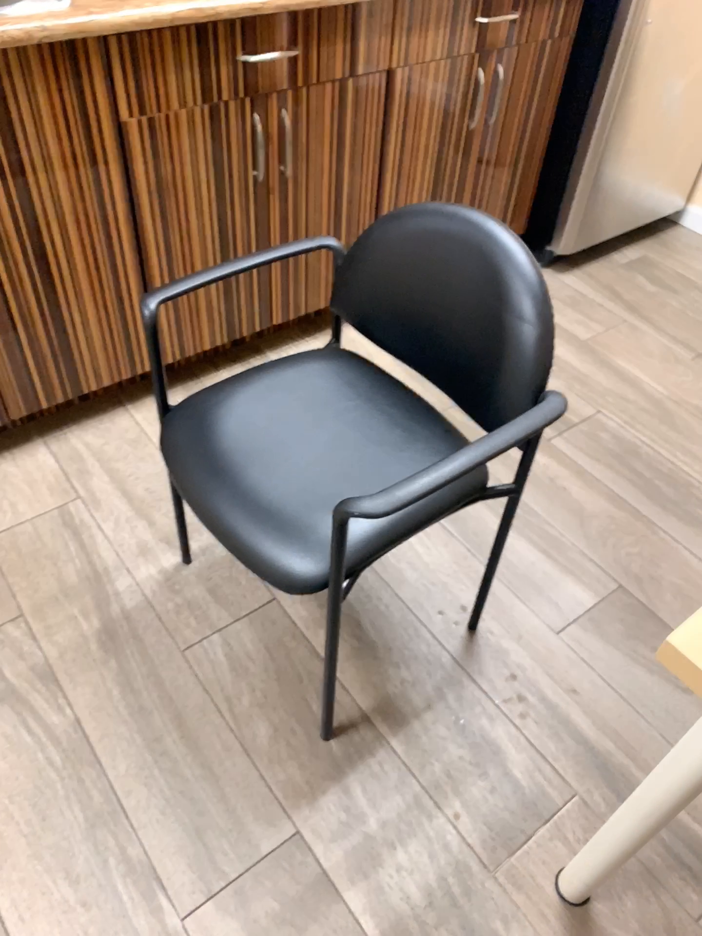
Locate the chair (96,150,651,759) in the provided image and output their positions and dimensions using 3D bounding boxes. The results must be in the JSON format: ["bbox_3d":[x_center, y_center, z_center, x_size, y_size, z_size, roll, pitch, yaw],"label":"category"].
[{"bbox_3d":[-0.002,-0.029,1.272,0.521,0.736,0.592,-29,55,-29],"label":"chair"}]
